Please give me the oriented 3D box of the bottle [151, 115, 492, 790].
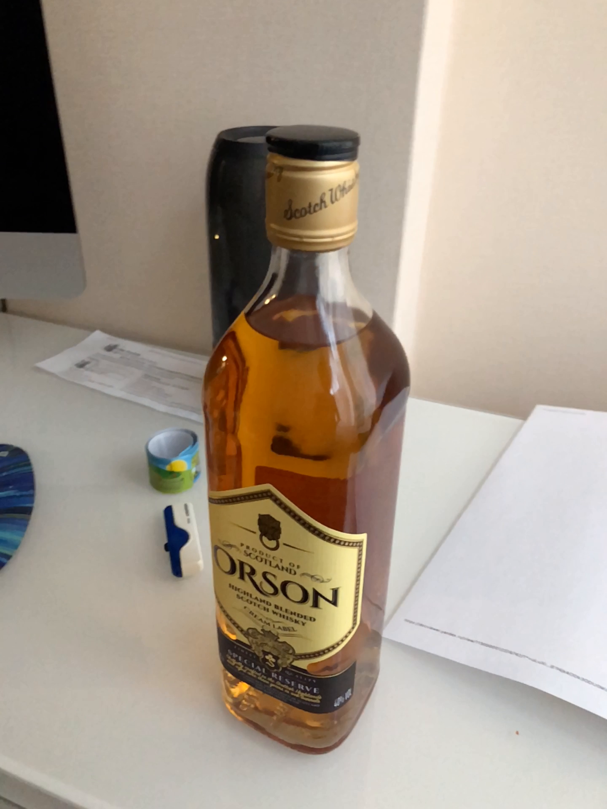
[{"bbox_3d":[0.005,0.031,0.269,0.080,0.258,0.070,18,34,25],"label":"bottle"}]
